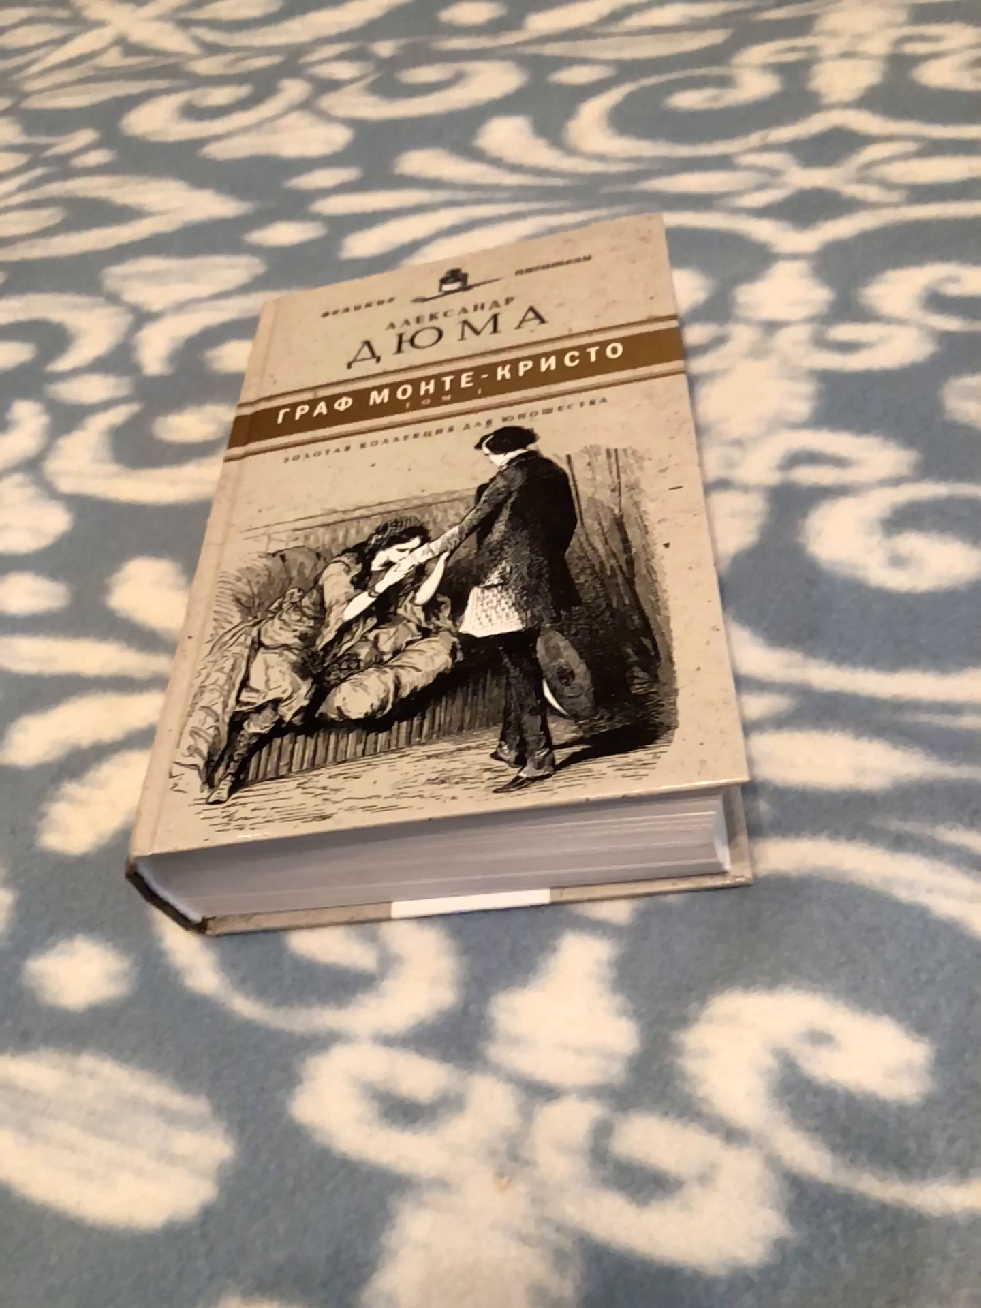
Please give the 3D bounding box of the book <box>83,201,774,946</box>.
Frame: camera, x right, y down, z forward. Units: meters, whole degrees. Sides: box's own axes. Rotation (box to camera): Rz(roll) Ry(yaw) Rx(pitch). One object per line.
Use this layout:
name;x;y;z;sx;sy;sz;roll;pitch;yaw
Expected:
book;-0.011;-0.036;0.295;0.138;0.040;0.212;-8;49;11
